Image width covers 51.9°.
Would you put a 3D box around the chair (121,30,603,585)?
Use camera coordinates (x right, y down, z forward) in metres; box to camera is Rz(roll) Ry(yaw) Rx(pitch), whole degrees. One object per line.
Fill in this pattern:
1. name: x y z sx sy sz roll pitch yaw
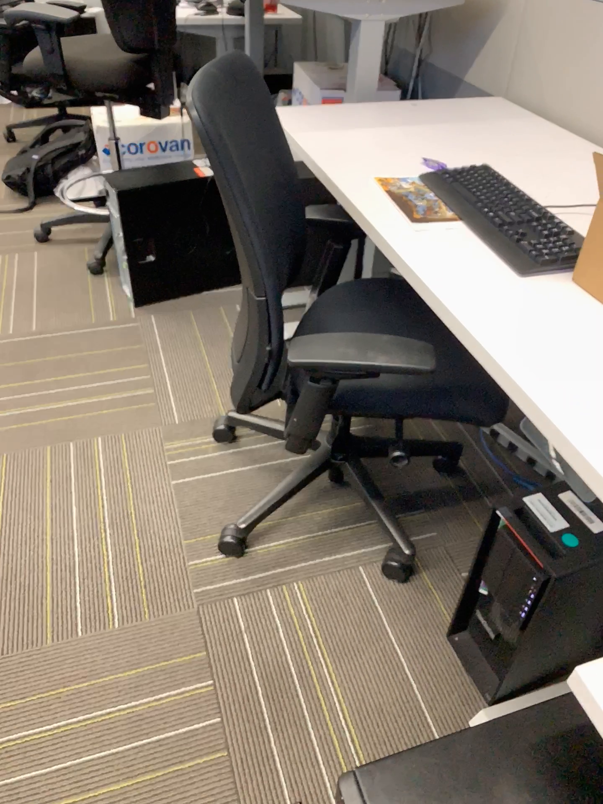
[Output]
1. chair: 0.110 -0.195 1.346 0.750 0.934 0.704 -1 40 -5
